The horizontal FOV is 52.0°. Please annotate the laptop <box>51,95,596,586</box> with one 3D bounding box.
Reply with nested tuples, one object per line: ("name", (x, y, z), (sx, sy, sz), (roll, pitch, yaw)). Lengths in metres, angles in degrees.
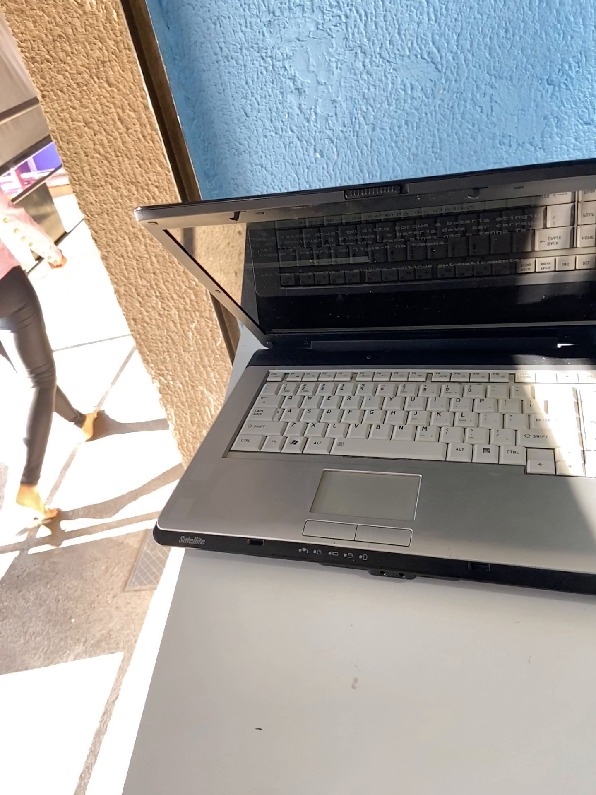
("laptop", (0.072, -0.055, 0.445), (0.351, 0.202, 0.247), (1, 37, 20))
